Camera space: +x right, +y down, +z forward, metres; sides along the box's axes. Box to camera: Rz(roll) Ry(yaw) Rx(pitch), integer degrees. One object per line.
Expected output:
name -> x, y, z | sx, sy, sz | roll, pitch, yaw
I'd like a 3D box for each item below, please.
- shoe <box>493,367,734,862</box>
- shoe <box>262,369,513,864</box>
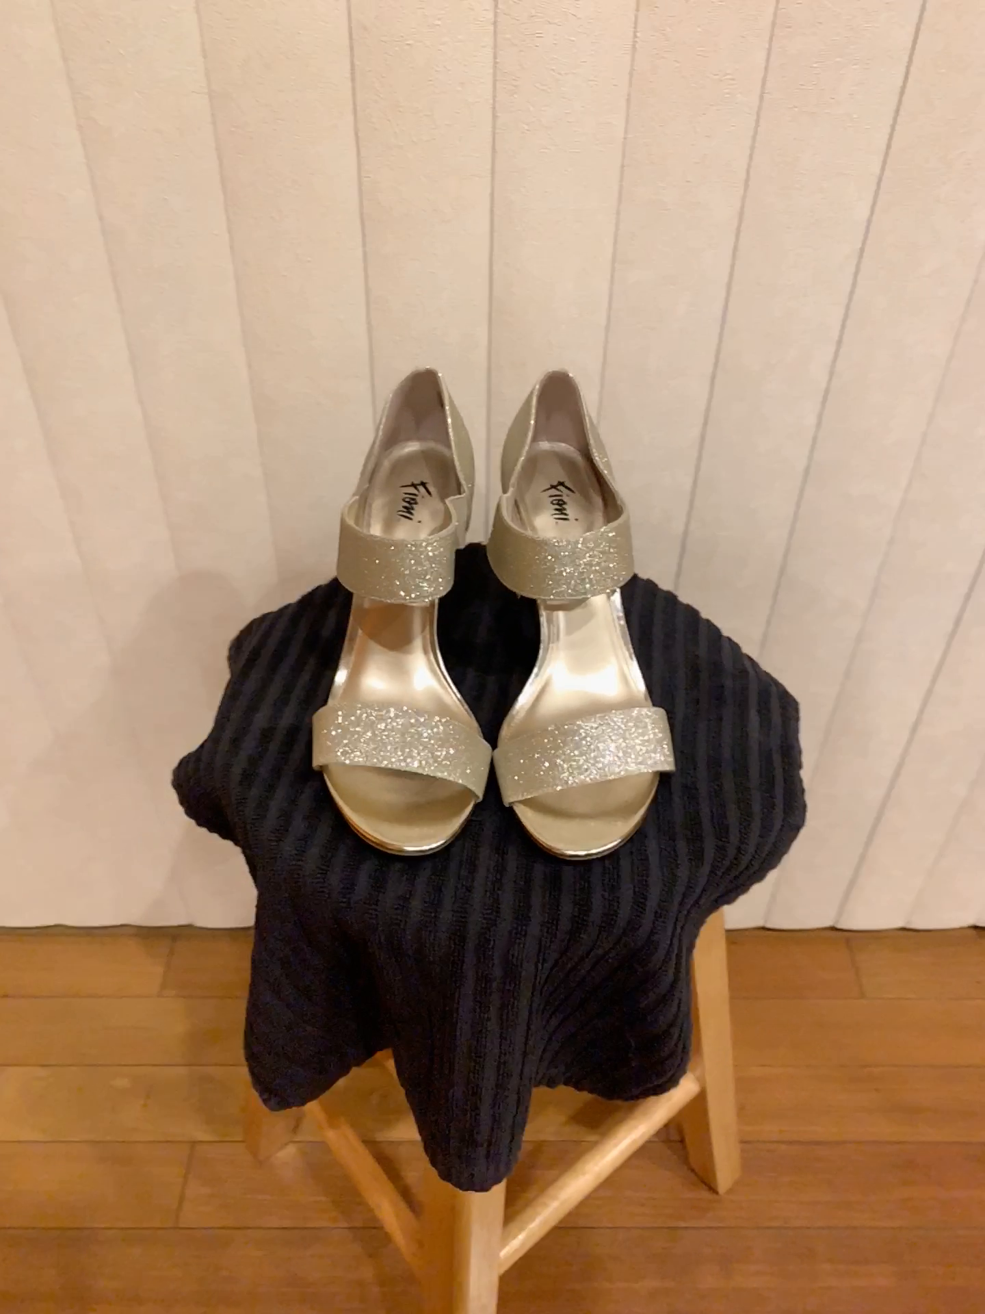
shoe -> 0.047, -0.033, 0.516 | 0.090, 0.129, 0.238 | 1, 42, 0
shoe -> -0.040, -0.032, 0.515 | 0.095, 0.129, 0.236 | 1, 42, 0
